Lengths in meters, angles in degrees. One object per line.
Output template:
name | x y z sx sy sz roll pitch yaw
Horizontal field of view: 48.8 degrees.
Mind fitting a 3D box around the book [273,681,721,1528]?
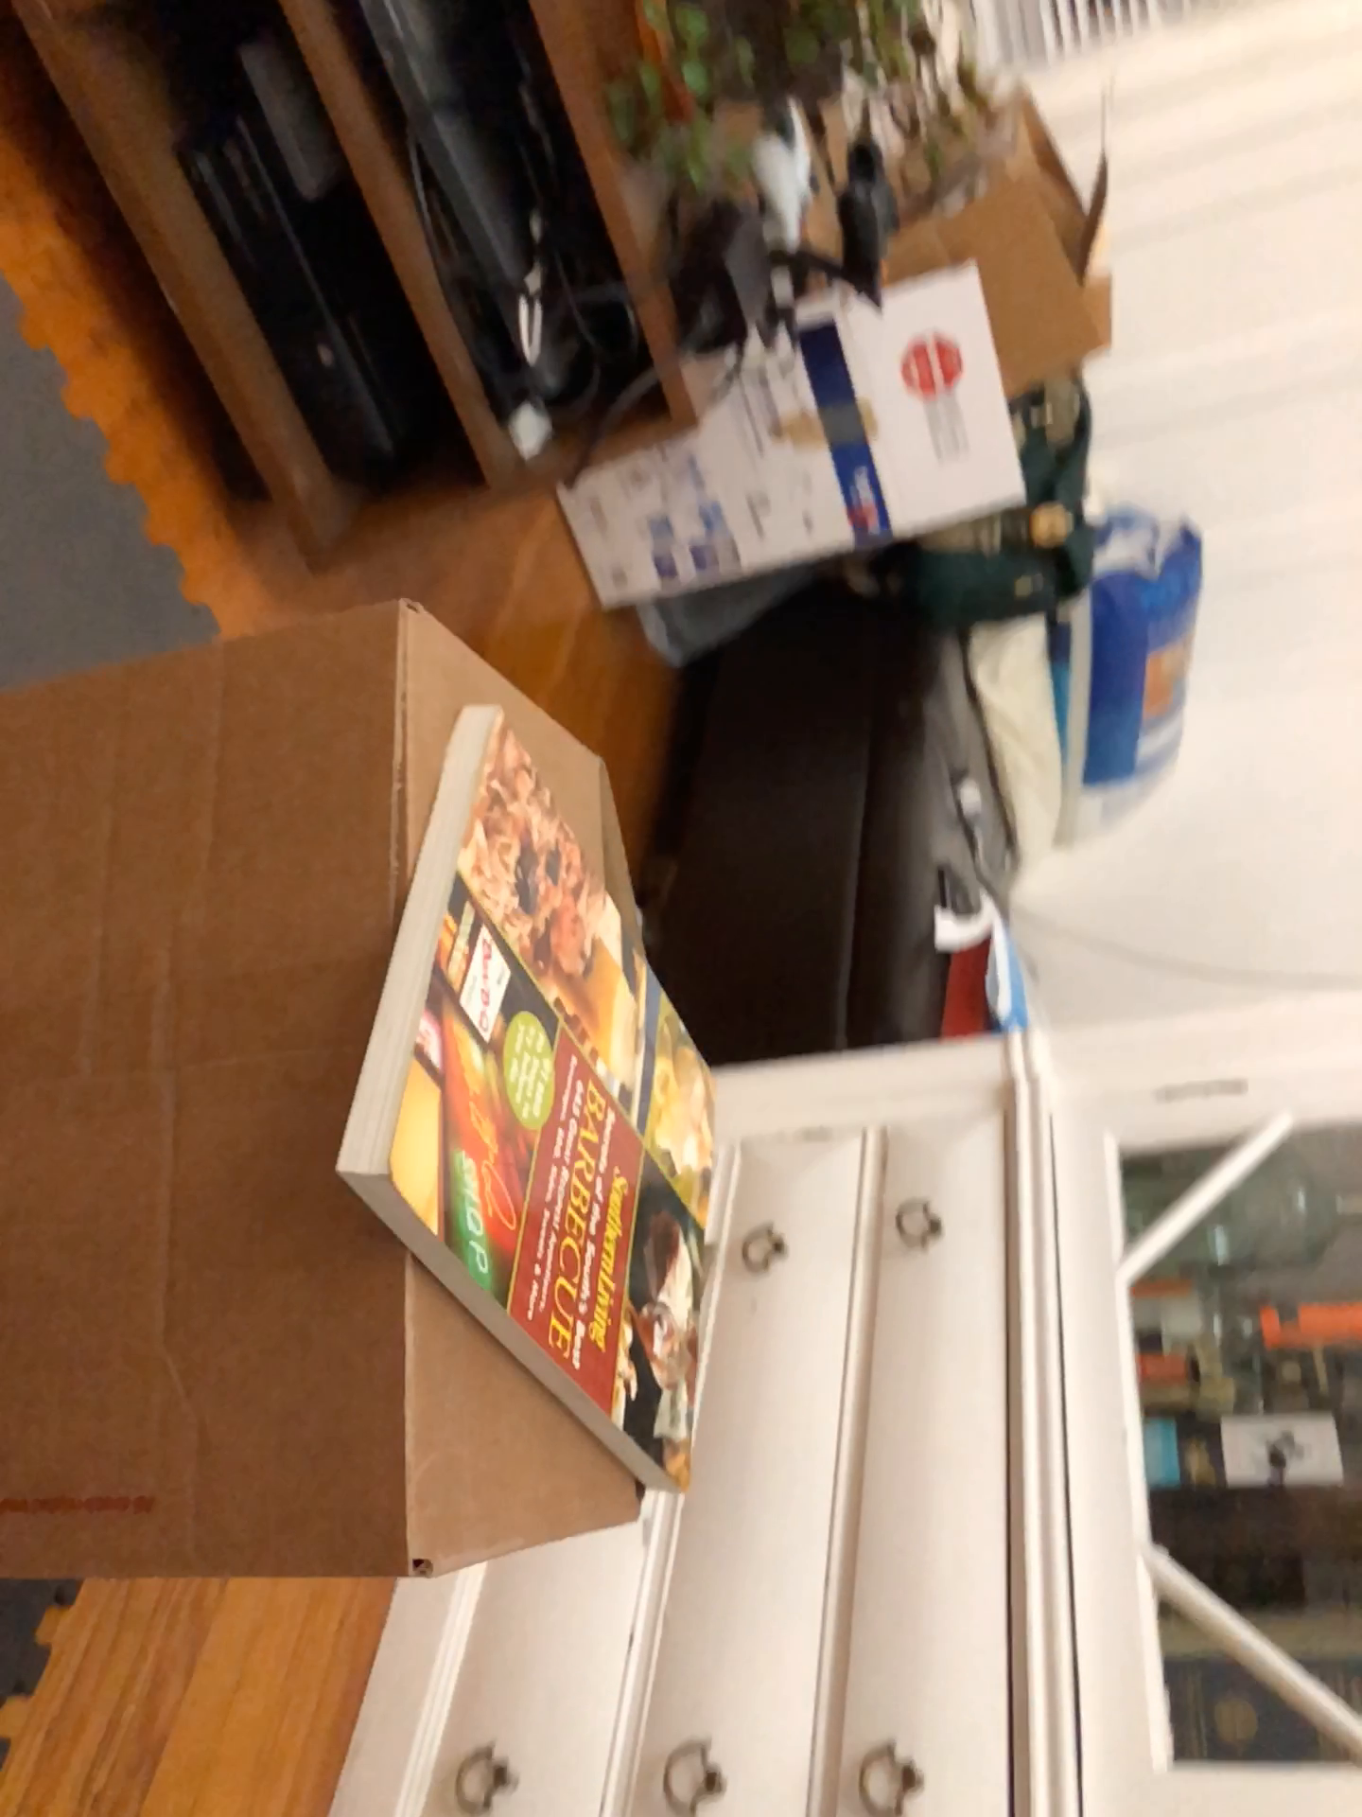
book | -0.050 0.089 0.611 0.290 0.020 0.221 61 27 -44
